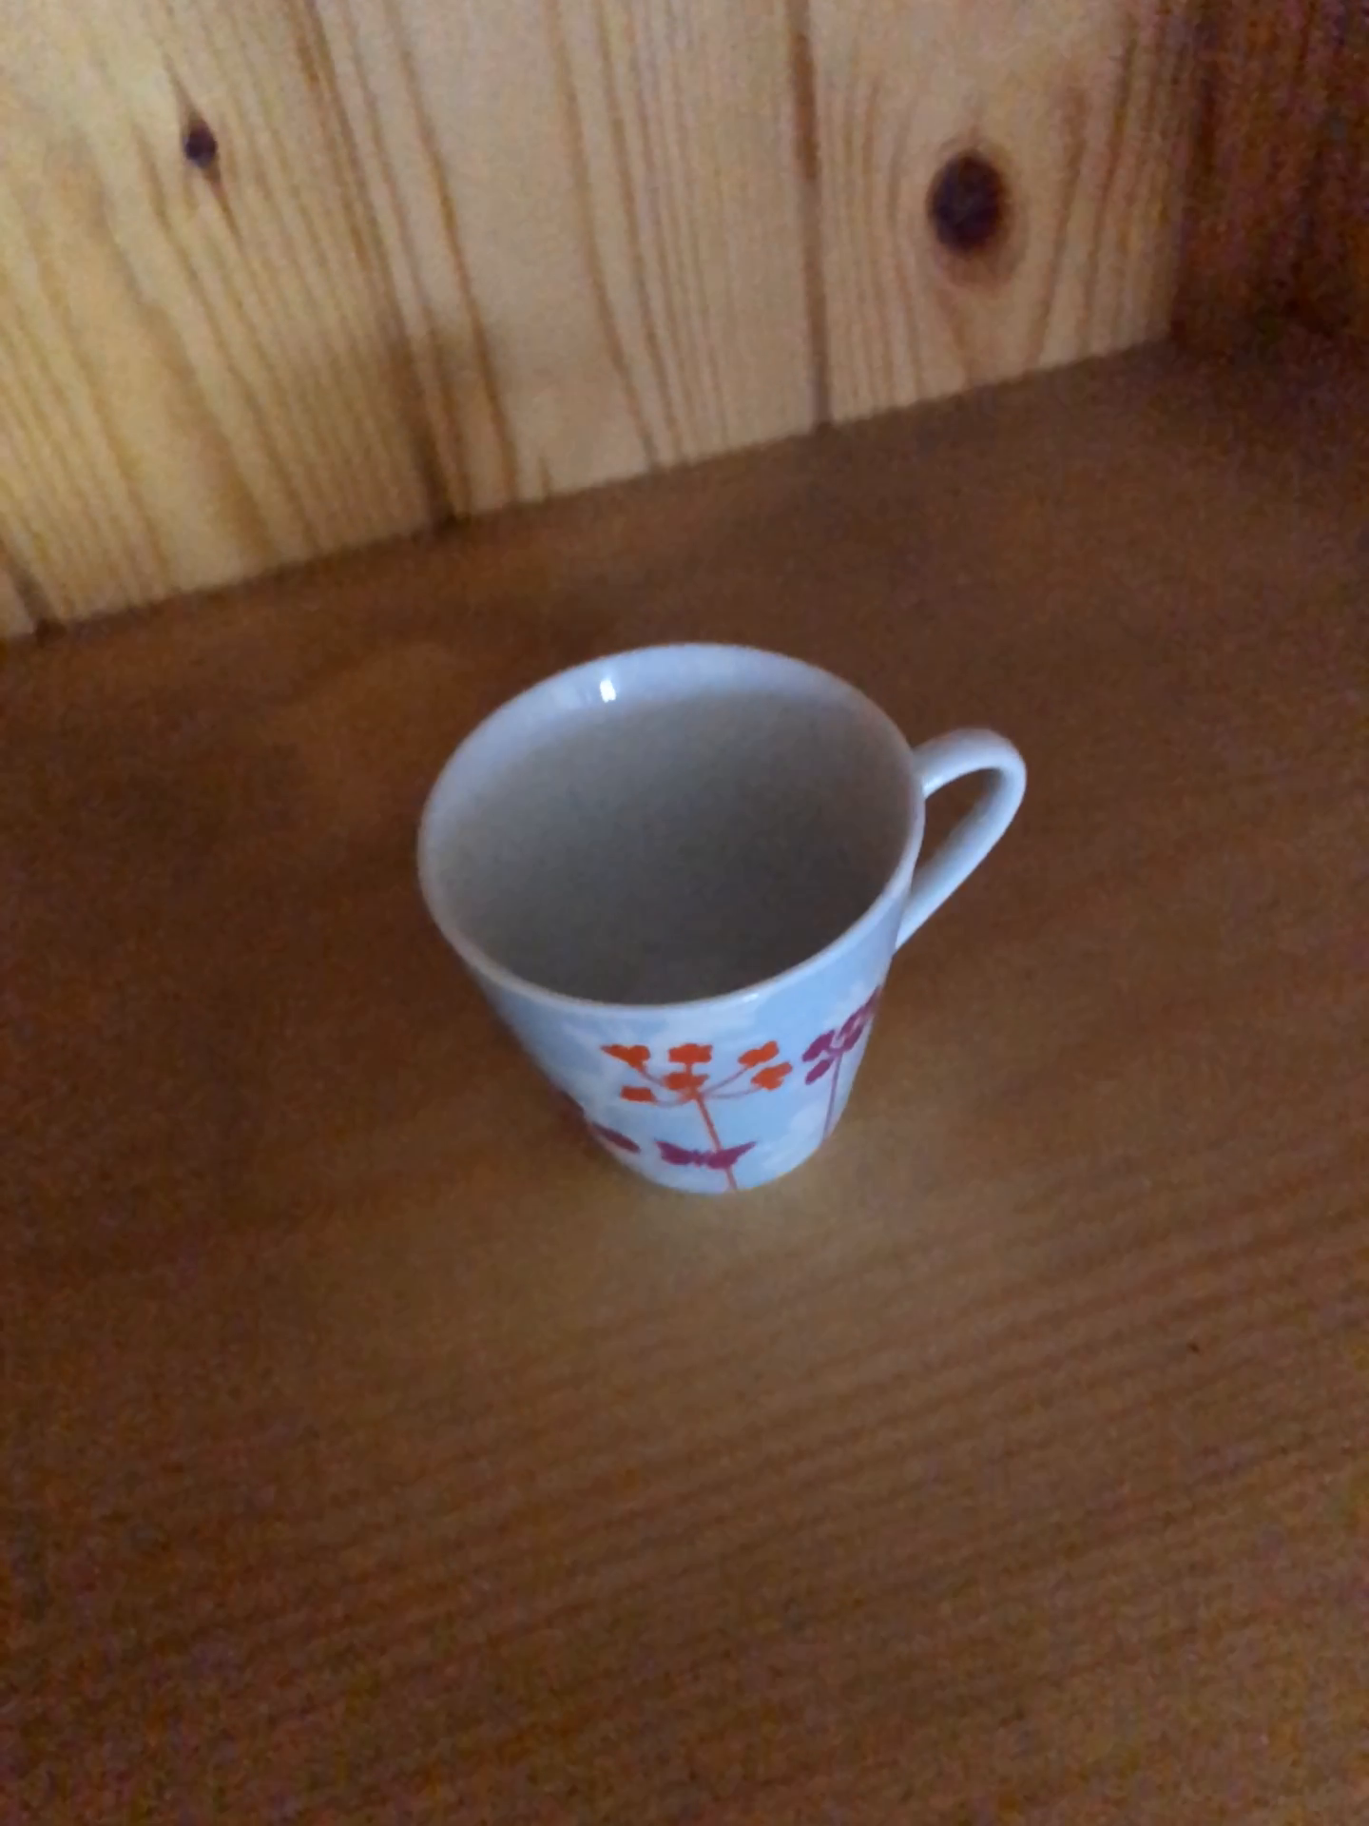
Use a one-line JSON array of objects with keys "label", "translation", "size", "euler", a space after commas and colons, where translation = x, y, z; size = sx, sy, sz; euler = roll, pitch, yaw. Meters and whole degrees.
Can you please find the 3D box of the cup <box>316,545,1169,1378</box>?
[{"label": "cup", "translation": [0.006, 0.003, 0.202], "size": [0.080, 0.050, 0.070], "euler": [-22, 49, -11]}]
